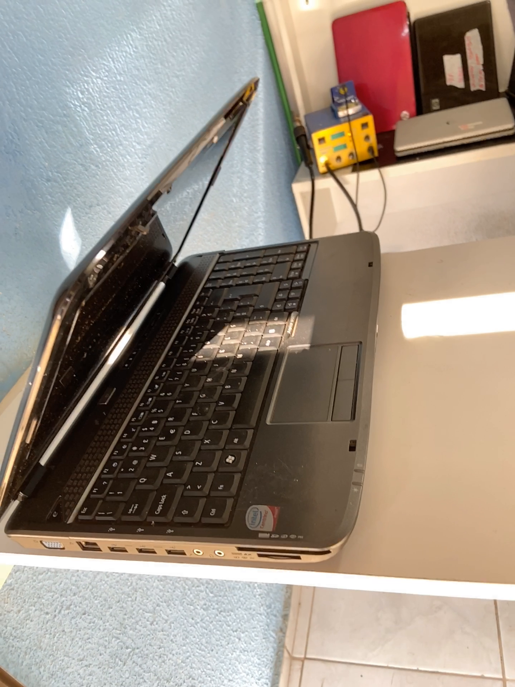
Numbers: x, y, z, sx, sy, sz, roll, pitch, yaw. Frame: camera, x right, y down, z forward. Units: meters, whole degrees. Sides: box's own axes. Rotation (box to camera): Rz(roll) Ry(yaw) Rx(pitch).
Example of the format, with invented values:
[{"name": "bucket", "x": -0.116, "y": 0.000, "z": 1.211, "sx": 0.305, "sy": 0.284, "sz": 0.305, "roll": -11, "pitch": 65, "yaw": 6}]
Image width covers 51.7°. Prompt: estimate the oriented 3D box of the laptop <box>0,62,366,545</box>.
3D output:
[{"name": "laptop", "x": -0.054, "y": -0.064, "z": 0.427, "sx": 0.235, "sy": 0.174, "sz": 0.380, "roll": -7, "pitch": 35, "yaw": 20}]
